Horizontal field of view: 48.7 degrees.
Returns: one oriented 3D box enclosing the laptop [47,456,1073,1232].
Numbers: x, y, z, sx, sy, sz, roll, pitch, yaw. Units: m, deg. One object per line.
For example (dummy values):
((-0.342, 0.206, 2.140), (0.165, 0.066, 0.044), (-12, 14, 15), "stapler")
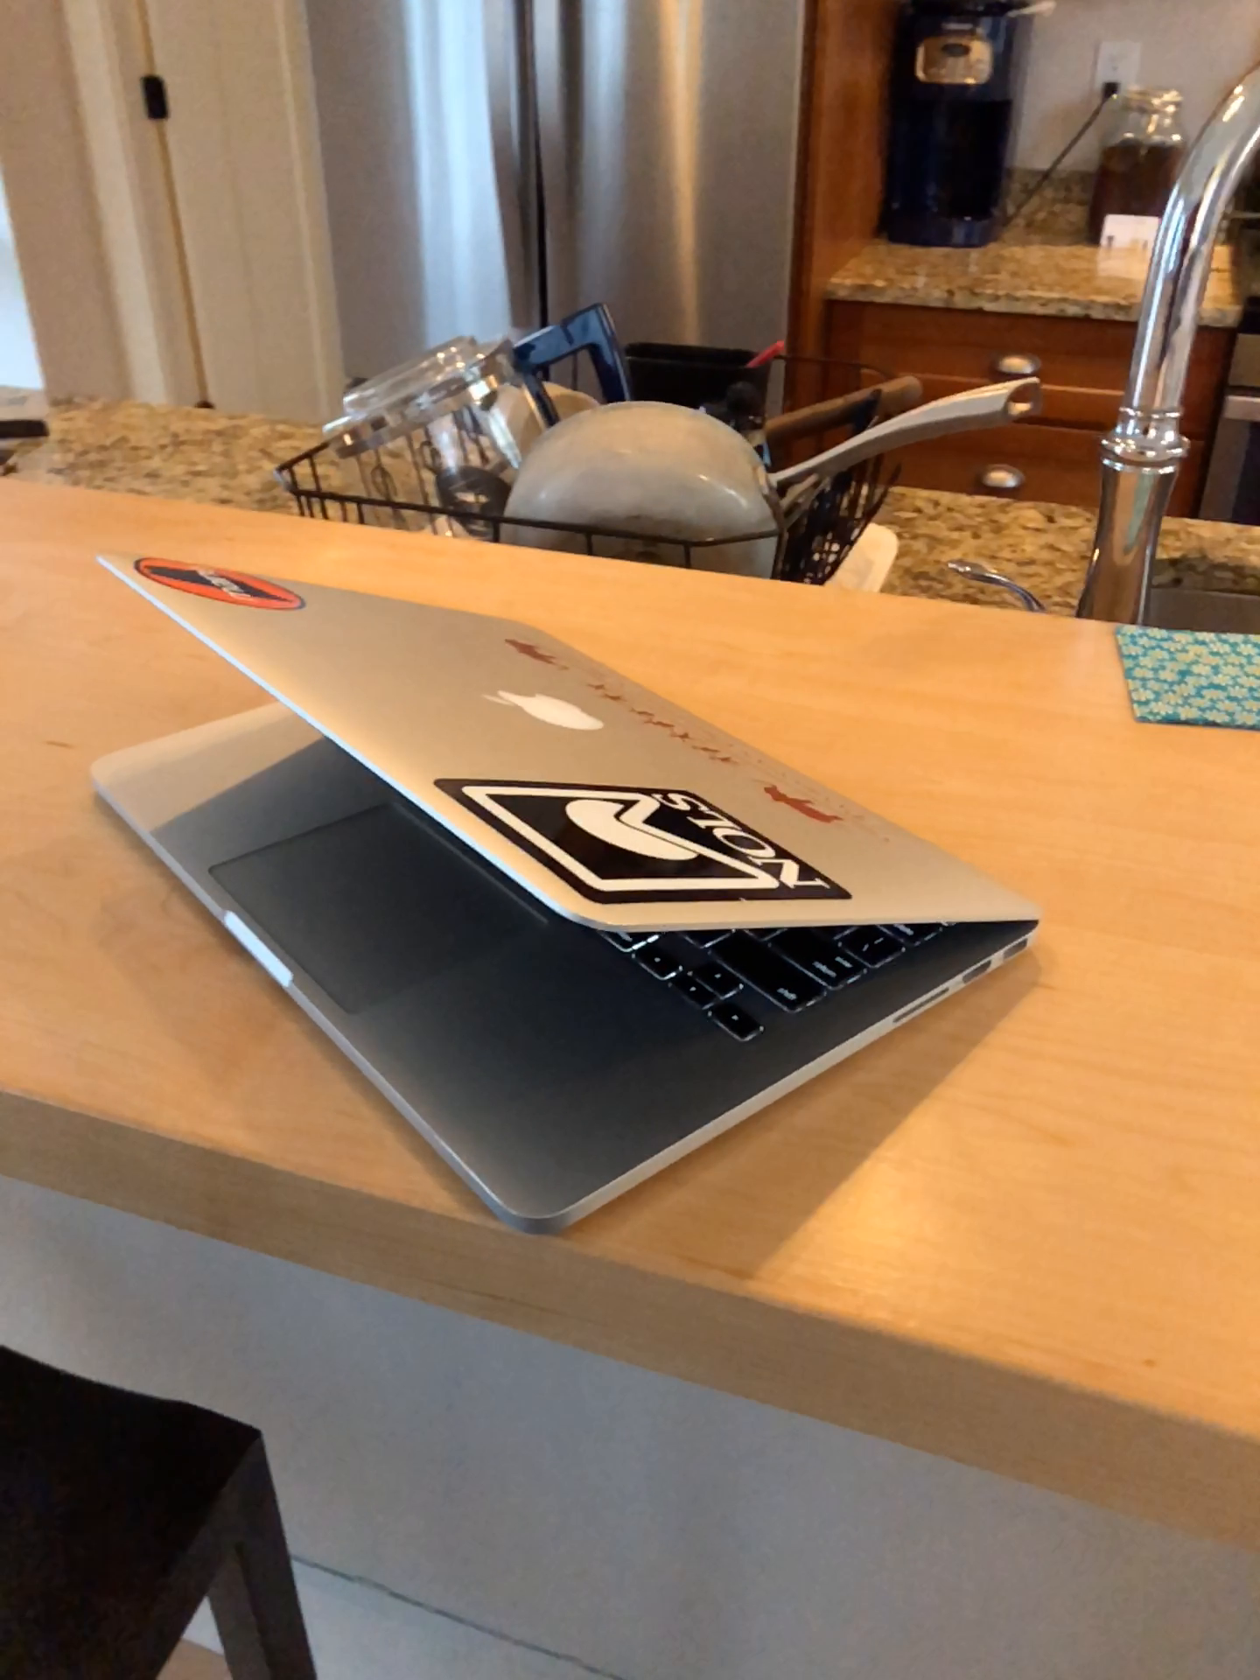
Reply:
((-0.040, -0.036, 0.488), (0.211, 0.084, 0.300), (-23, 39, -31), "laptop")
